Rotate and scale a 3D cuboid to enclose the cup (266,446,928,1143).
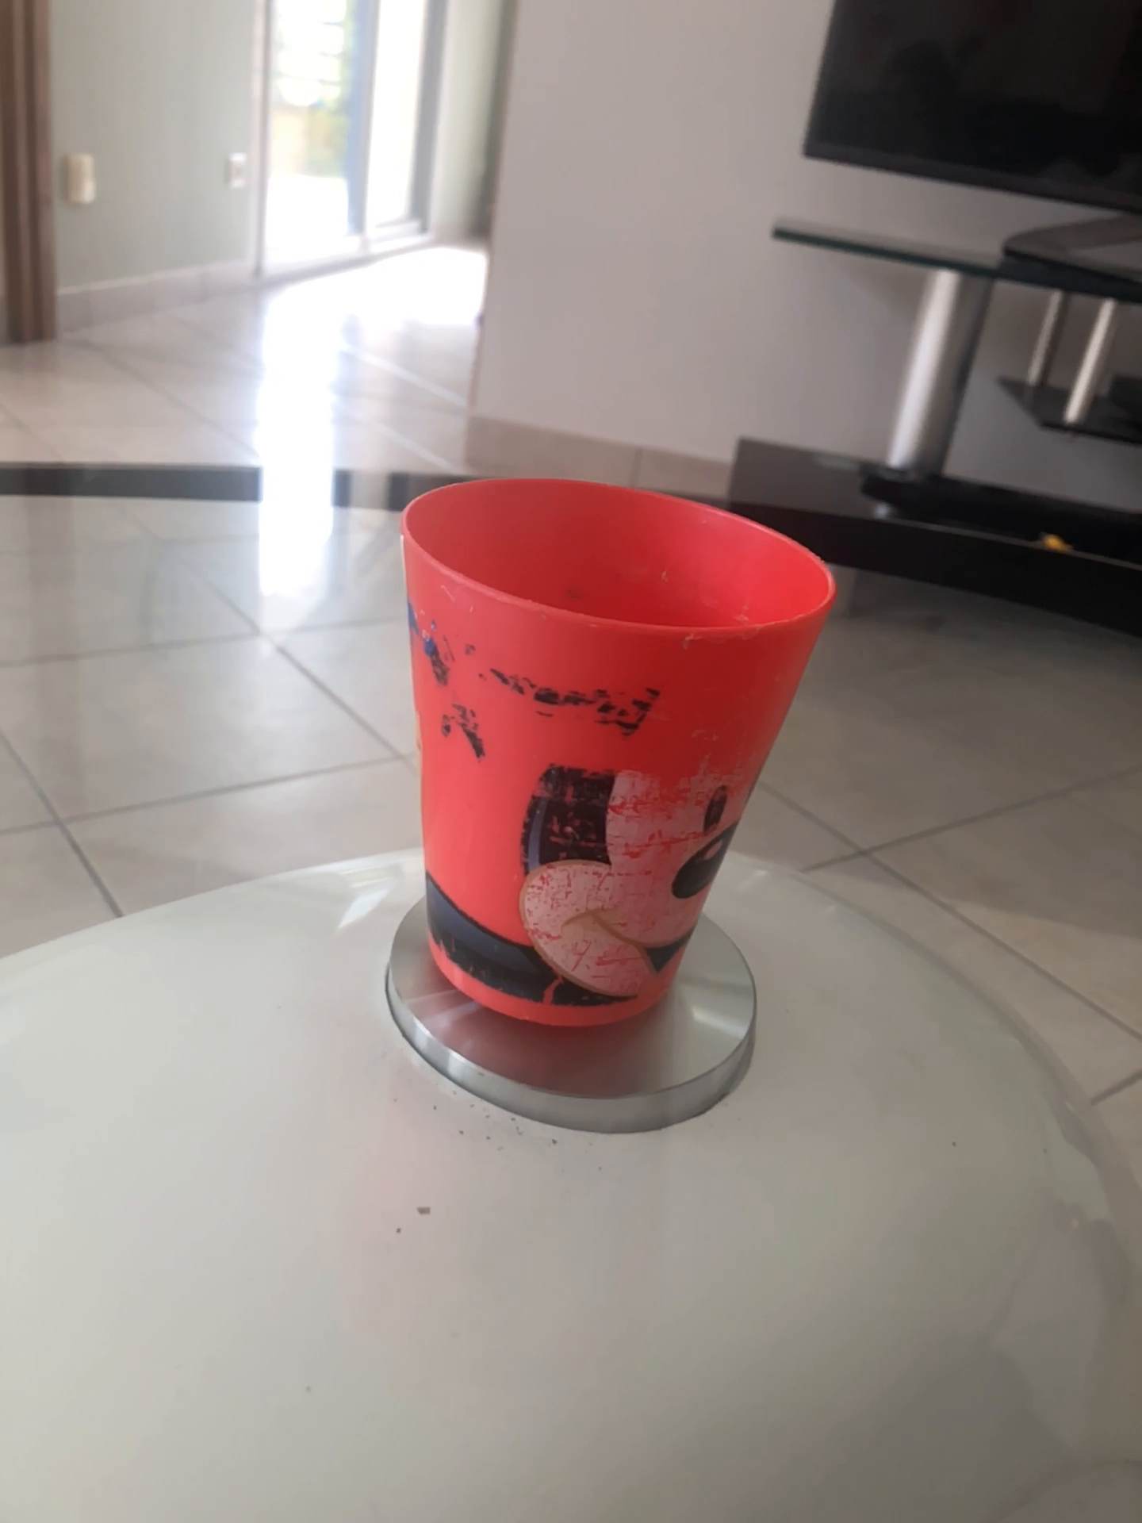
[{"bbox_3d":[0.002,-0.002,0.240,0.080,0.089,0.080,8,26,-4],"label":"cup"}]
